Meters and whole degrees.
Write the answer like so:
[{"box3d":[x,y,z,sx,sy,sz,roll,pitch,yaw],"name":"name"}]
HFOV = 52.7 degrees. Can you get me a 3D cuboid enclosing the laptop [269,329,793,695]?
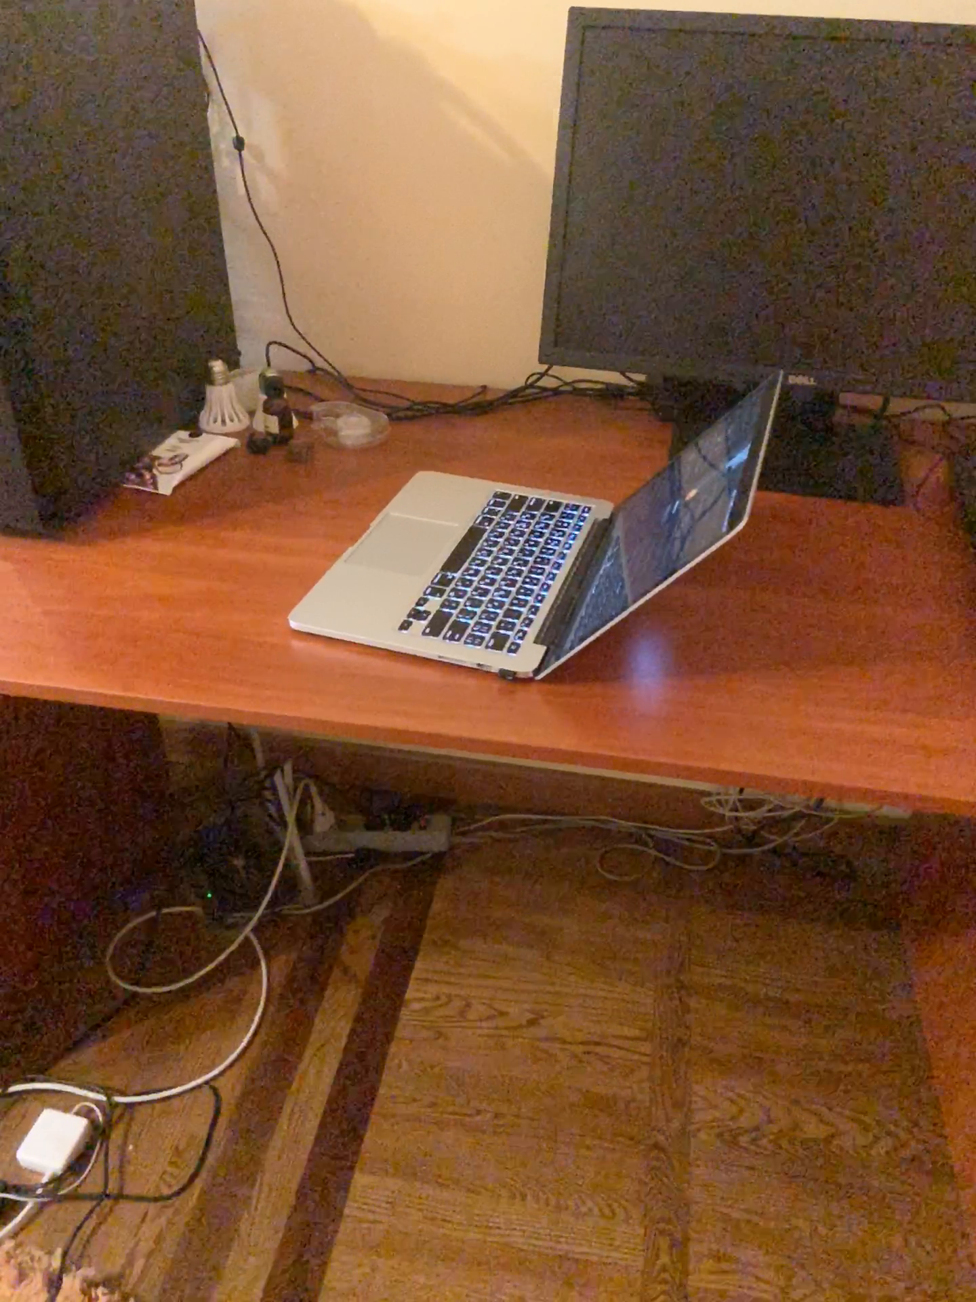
[{"box3d":[0.050,-0.133,0.801,0.333,0.139,0.287,10,37,14],"name":"laptop"}]
